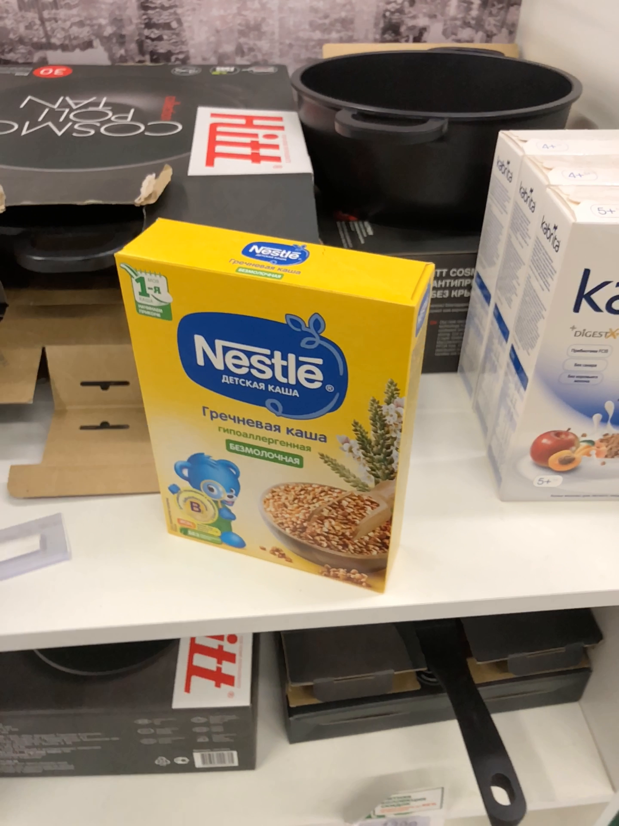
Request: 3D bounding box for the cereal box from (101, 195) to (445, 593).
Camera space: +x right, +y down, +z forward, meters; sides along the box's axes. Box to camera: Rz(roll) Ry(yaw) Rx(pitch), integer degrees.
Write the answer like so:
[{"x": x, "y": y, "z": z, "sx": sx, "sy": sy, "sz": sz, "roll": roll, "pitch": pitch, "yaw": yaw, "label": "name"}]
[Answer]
[{"x": -0.018, "y": -0.003, "z": 0.377, "sx": 0.150, "sy": 0.199, "sz": 0.050, "roll": 12, "pitch": 40, "yaw": 14, "label": "cereal box"}]
